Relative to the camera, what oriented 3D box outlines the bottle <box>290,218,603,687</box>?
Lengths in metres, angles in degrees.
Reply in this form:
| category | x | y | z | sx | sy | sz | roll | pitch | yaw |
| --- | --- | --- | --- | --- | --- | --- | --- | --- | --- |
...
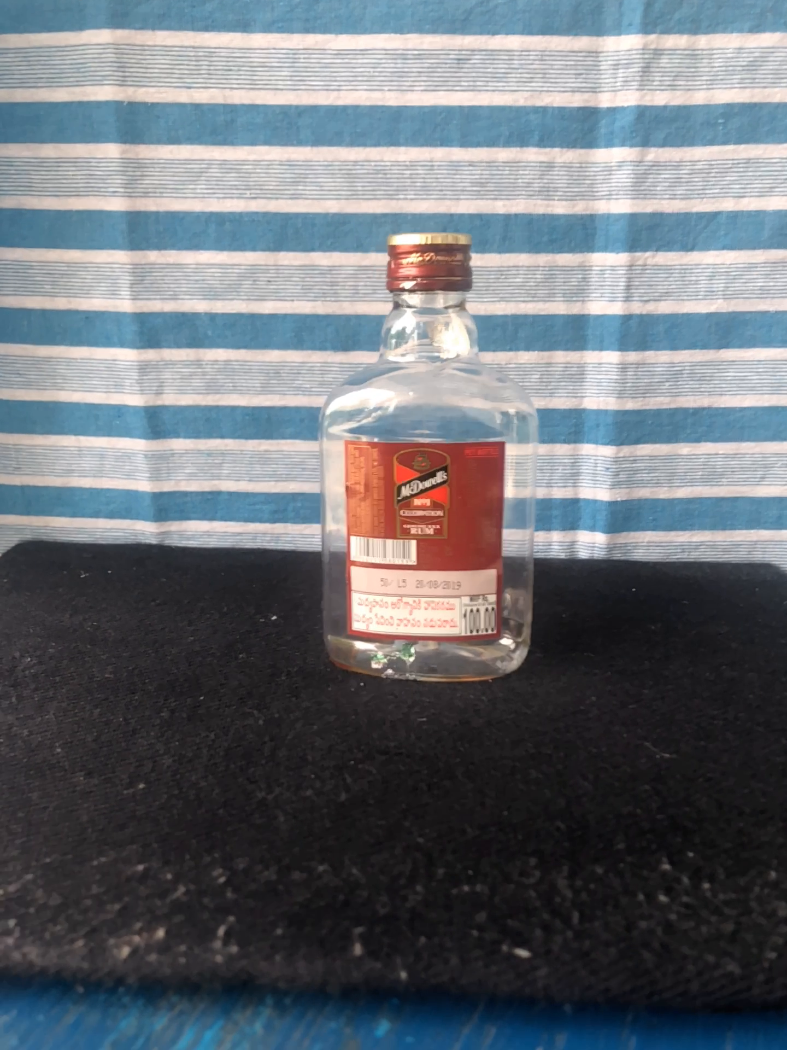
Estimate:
| category | x | y | z | sx | sy | sz | roll | pitch | yaw |
| --- | --- | --- | --- | --- | --- | --- | --- | --- | --- |
| bottle | 0.012 | -0.022 | 0.262 | 0.080 | 0.129 | 0.040 | 3 | 18 | 3 |
